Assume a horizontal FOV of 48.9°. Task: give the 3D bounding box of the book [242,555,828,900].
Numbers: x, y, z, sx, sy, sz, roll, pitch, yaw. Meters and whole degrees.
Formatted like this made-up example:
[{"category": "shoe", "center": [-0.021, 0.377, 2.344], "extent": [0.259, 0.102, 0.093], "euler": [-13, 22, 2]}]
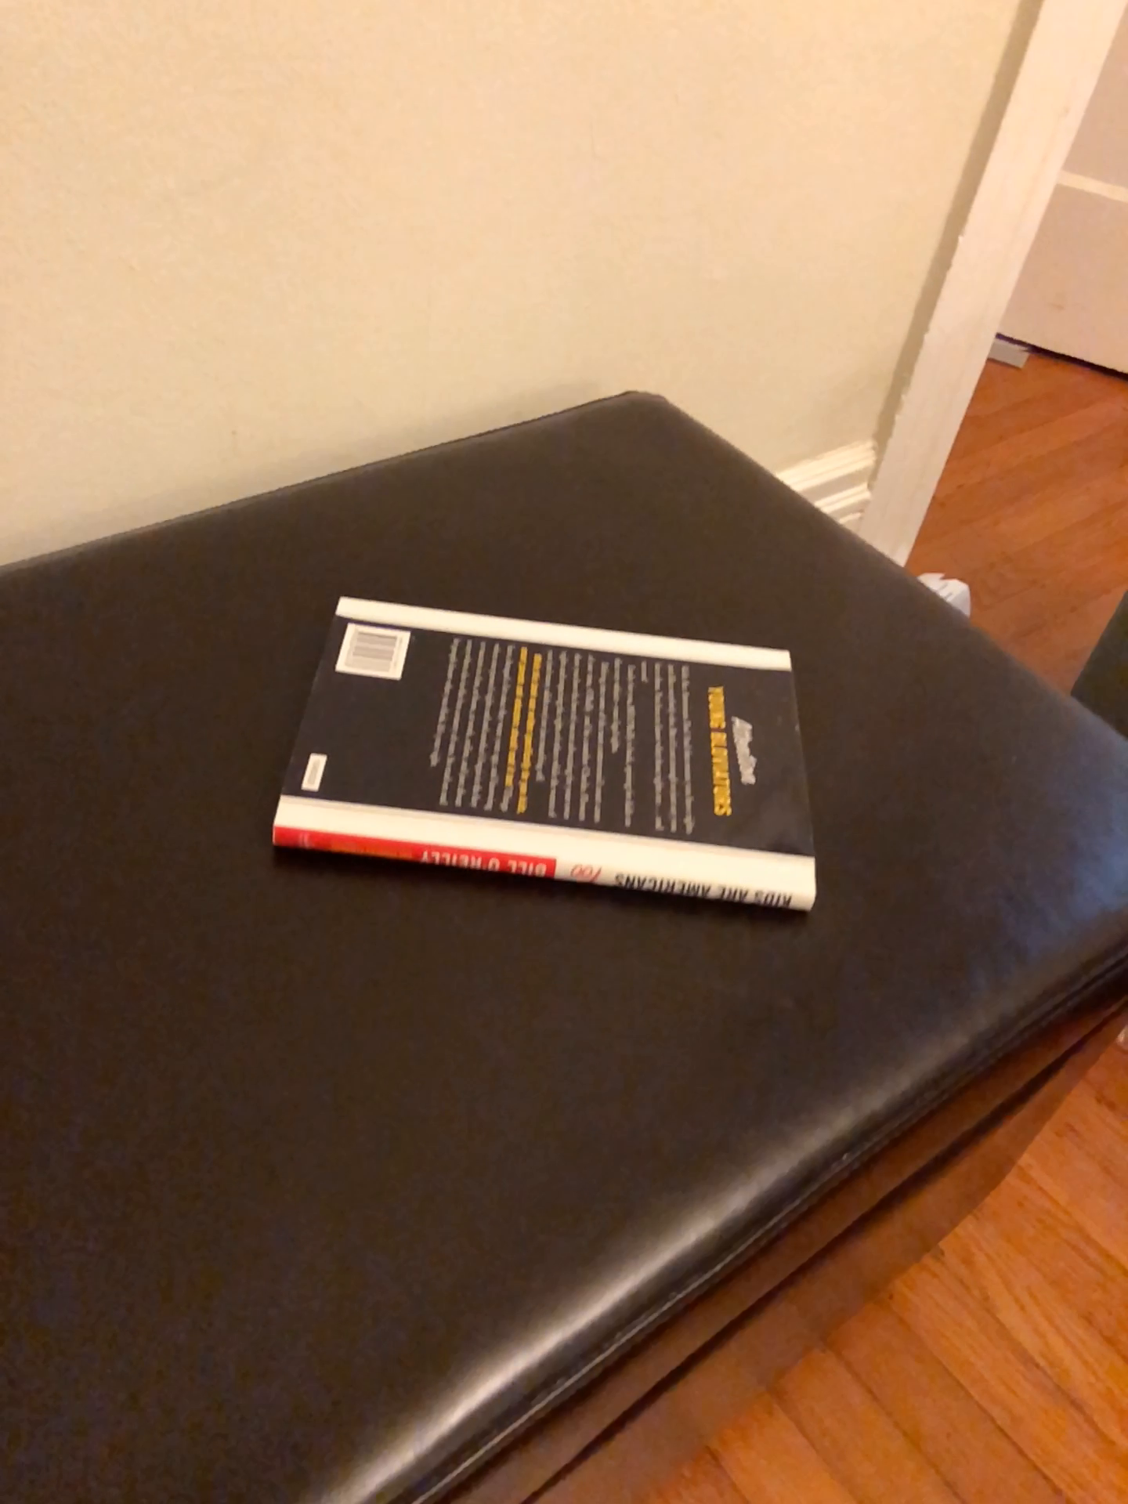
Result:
[{"category": "book", "center": [-0.007, -0.017, 0.548], "extent": [0.230, 0.020, 0.161], "euler": [7, 44, -3]}]
